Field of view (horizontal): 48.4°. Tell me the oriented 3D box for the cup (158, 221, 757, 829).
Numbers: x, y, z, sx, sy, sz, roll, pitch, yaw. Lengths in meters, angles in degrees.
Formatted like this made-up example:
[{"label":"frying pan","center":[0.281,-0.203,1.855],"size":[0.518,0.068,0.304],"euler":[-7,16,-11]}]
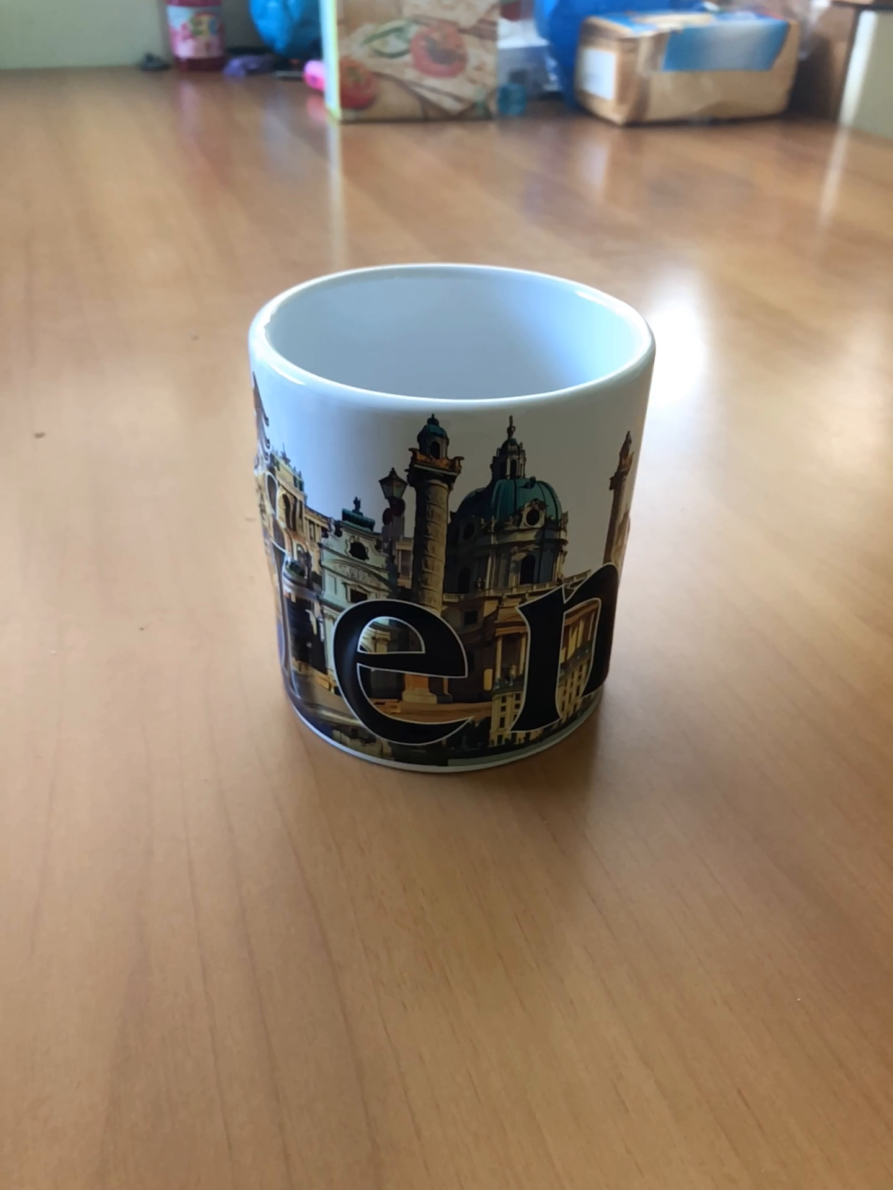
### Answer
[{"label":"cup","center":[-0.010,-0.035,0.290],"size":[0.110,0.099,0.151],"euler":[-12,37,-18]}]
